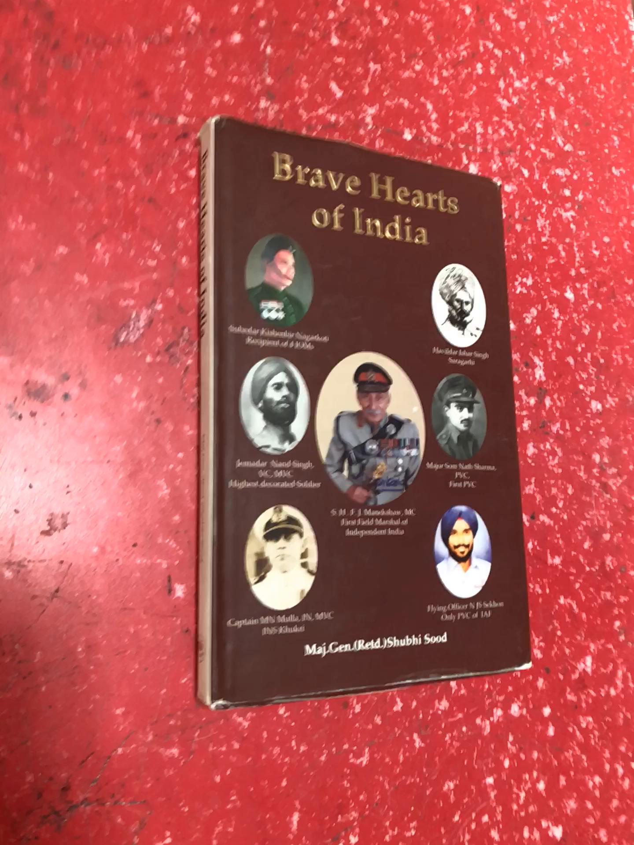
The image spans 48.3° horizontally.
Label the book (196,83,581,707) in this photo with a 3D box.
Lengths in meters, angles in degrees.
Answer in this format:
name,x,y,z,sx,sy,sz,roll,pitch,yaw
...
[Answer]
name,x,y,z,sx,sy,sz,roll,pitch,yaw
book,0.029,-0.012,0.288,0.150,0.030,0.220,3,80,-23
